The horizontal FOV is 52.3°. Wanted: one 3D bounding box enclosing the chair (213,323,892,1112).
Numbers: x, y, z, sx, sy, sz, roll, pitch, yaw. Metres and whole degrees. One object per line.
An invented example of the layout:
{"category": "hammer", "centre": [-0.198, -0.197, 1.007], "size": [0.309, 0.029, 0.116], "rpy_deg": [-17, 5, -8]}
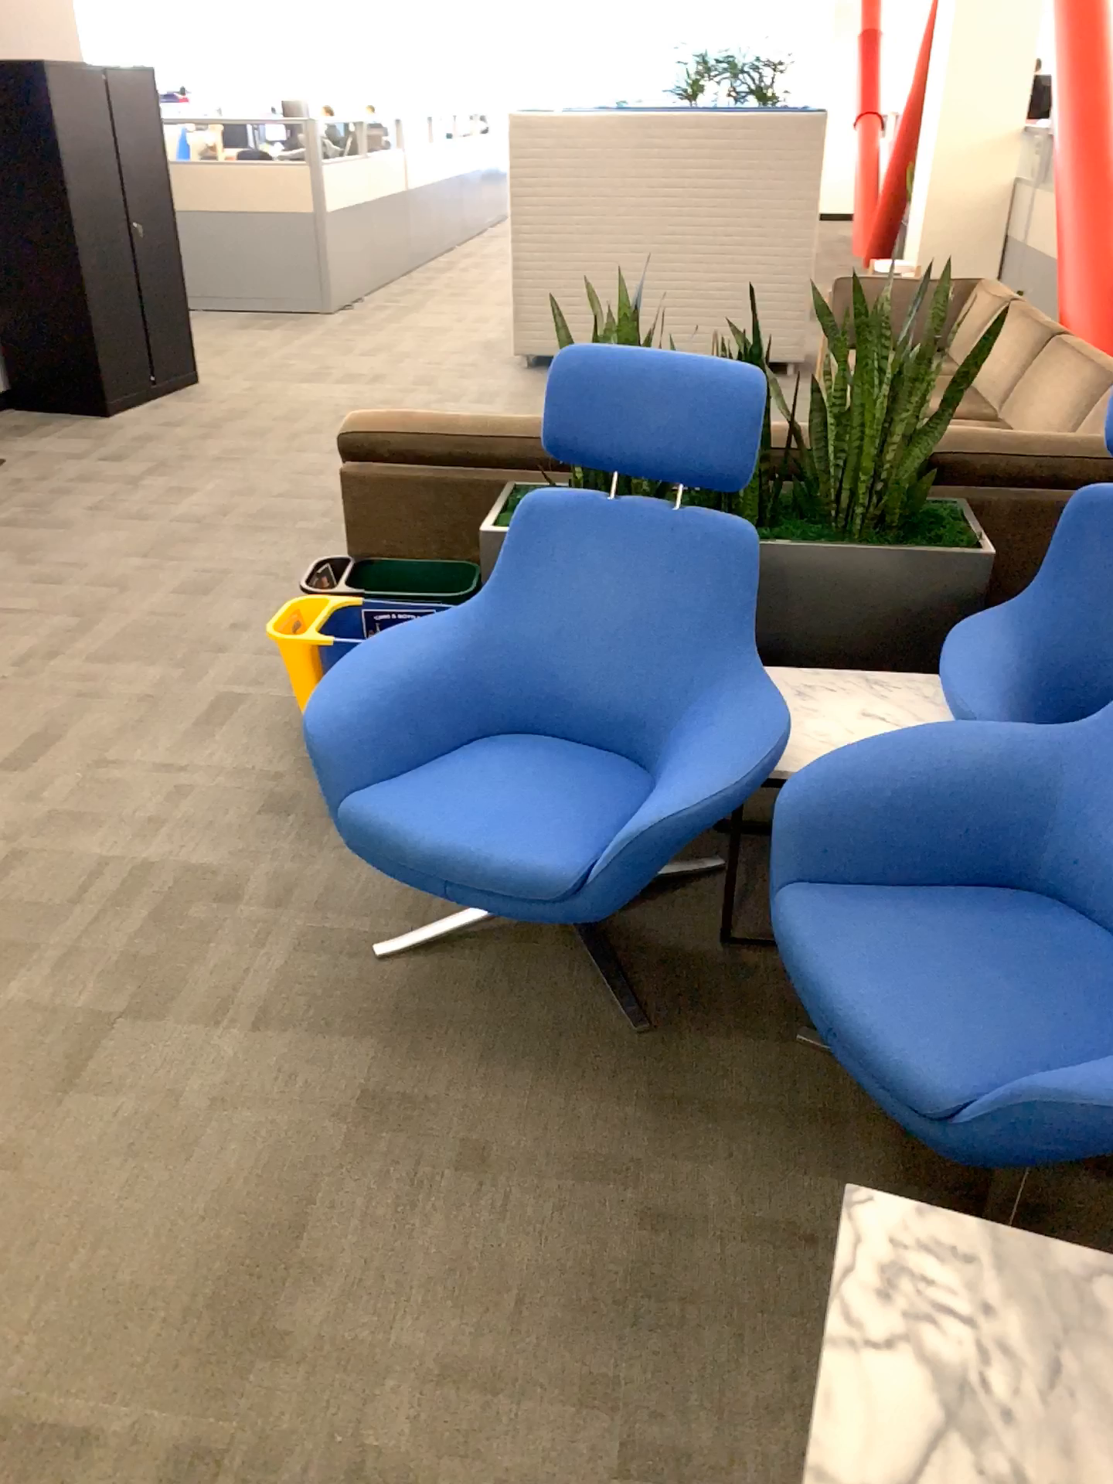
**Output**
{"category": "chair", "centre": [0.008, -0.107, 2.157], "size": [0.922, 1.143, 0.662], "rpy_deg": [15, 33, 25]}
